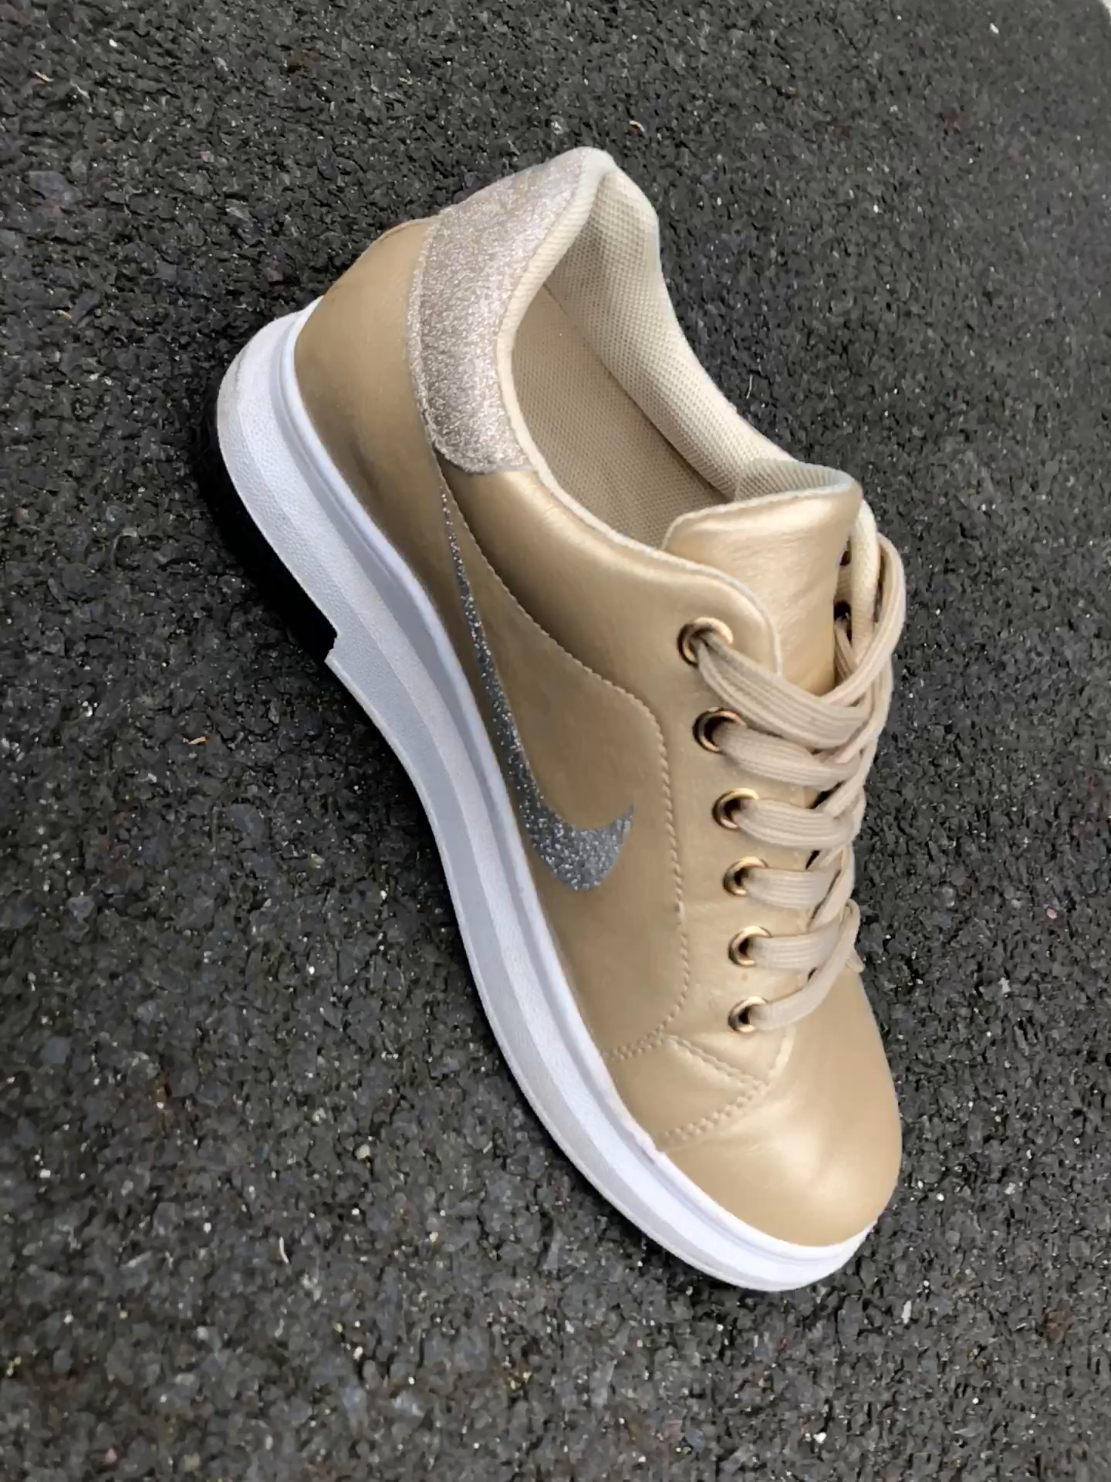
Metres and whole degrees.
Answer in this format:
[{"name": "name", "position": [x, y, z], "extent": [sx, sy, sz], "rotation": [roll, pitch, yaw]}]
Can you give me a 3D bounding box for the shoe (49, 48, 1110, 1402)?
[{"name": "shoe", "position": [0.026, -0.004, 0.276], "extent": [0.117, 0.099, 0.260], "rotation": [-37, 97, -46]}]
